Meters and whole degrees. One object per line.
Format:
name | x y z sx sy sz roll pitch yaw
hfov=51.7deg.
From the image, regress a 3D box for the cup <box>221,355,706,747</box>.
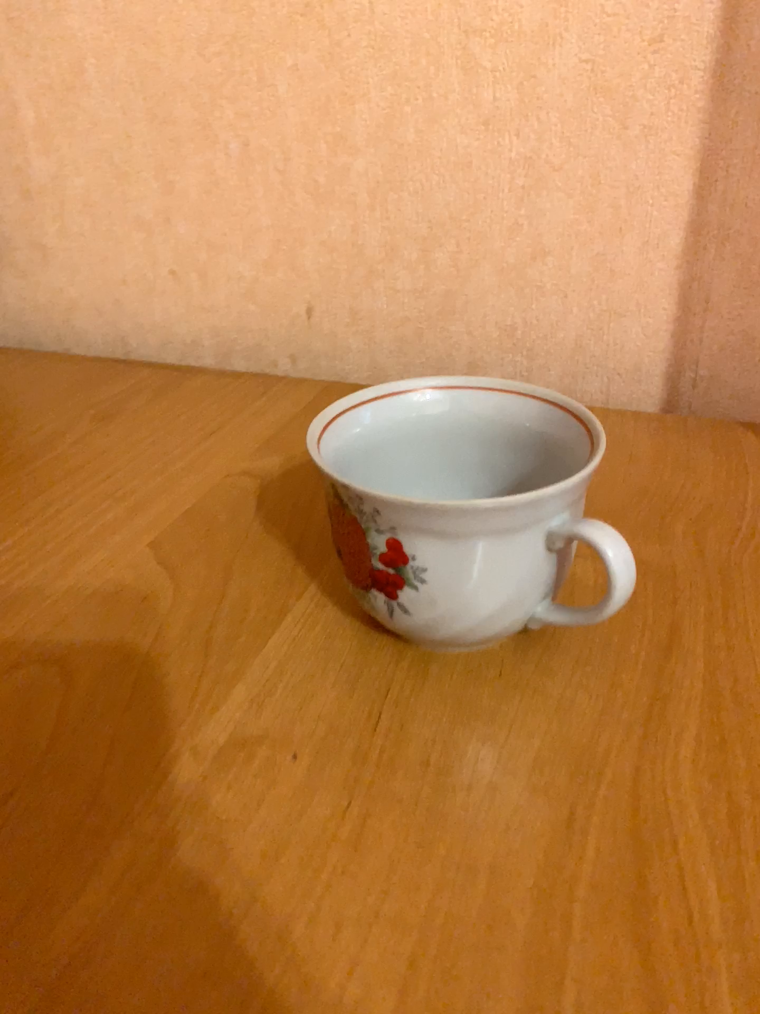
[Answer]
cup | 0.025 0.002 0.234 0.109 0.056 0.083 17 35 31
